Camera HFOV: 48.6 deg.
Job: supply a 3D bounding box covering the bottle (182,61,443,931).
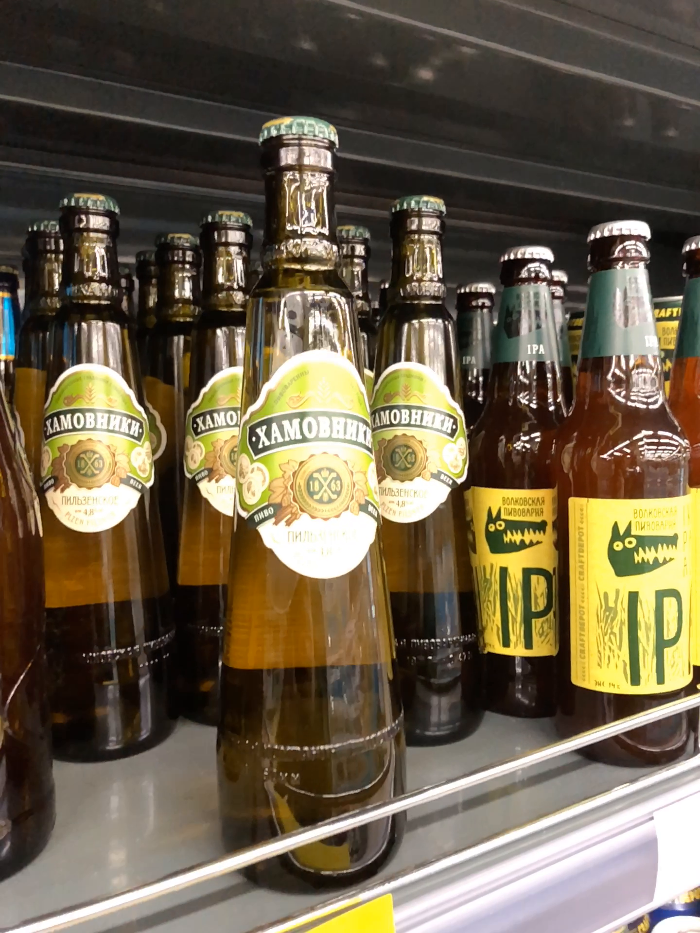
[{"bbox_3d":[-0.015,0.010,0.276,0.070,0.262,0.070,-1,5,0],"label":"bottle"}]
